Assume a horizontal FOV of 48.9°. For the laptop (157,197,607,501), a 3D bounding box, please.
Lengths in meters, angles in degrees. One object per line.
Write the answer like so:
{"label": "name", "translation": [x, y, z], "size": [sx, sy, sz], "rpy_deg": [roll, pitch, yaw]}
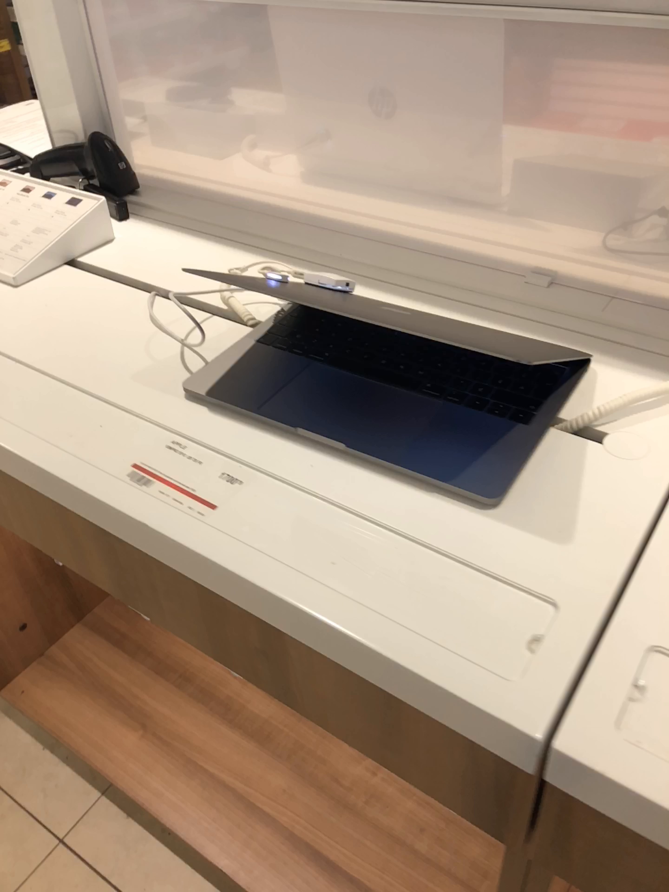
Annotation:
{"label": "laptop", "translation": [0.040, -0.103, 0.625], "size": [0.304, 0.104, 0.202], "rpy_deg": [20, 44, 27]}
